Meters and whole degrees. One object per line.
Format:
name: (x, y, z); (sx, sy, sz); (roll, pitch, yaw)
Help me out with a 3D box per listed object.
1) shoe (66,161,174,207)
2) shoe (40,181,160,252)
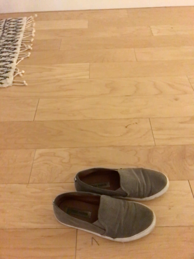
shoe: (0.061, 0.152, 0.601); (0.280, 0.050, 0.111); (0, 50, 3)
shoe: (0.012, 0.217, 0.543); (0.280, 0.050, 0.121); (6, 50, 8)
